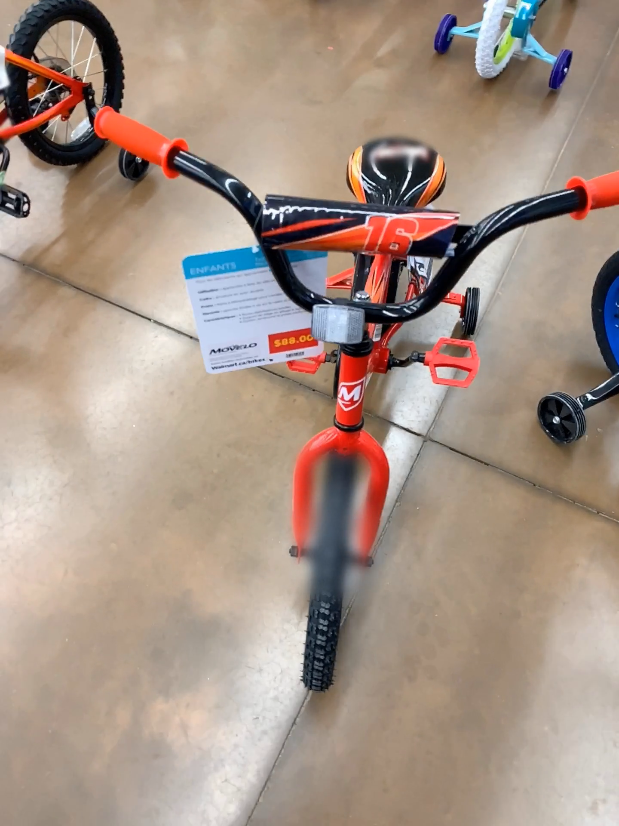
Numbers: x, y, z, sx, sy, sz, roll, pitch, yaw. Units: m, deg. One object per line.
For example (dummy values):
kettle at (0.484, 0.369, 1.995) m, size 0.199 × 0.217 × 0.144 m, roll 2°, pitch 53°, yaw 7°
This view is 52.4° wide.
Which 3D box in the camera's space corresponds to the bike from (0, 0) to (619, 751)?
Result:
bike at (0.118, -0.158, 1.011) m, size 0.584 × 0.850 × 1.074 m, roll 9°, pitch 56°, yaw 6°
